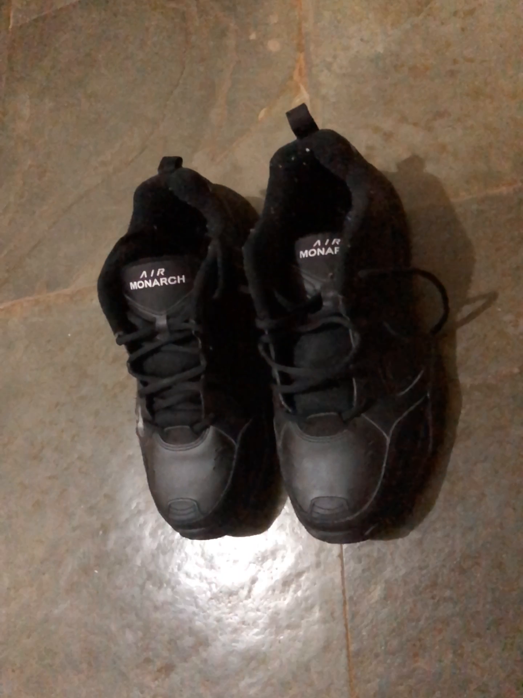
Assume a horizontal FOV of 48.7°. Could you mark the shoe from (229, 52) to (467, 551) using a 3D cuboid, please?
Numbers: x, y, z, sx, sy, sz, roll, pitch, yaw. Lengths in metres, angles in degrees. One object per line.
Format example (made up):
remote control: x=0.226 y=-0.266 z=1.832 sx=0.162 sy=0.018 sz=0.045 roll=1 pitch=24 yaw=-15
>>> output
shoe: x=0.056 y=-0.024 z=0.394 sx=0.120 sy=0.110 sz=0.301 roll=-8 pitch=72 yaw=20

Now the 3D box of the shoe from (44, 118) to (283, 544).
shoe: x=-0.065 y=-0.005 z=0.432 sx=0.120 sy=0.110 sz=0.281 roll=-9 pitch=71 yaw=20
